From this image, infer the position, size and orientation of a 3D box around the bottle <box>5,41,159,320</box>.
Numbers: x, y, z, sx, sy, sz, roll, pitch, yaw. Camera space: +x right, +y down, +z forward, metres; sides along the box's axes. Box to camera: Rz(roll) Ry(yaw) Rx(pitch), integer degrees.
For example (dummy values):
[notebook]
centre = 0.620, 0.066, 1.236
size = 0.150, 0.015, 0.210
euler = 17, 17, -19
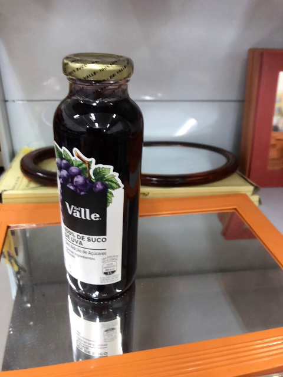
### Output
[bottle]
centre = -0.036, 0.000, 0.234
size = 0.070, 0.189, 0.060
euler = 11, 30, 13
